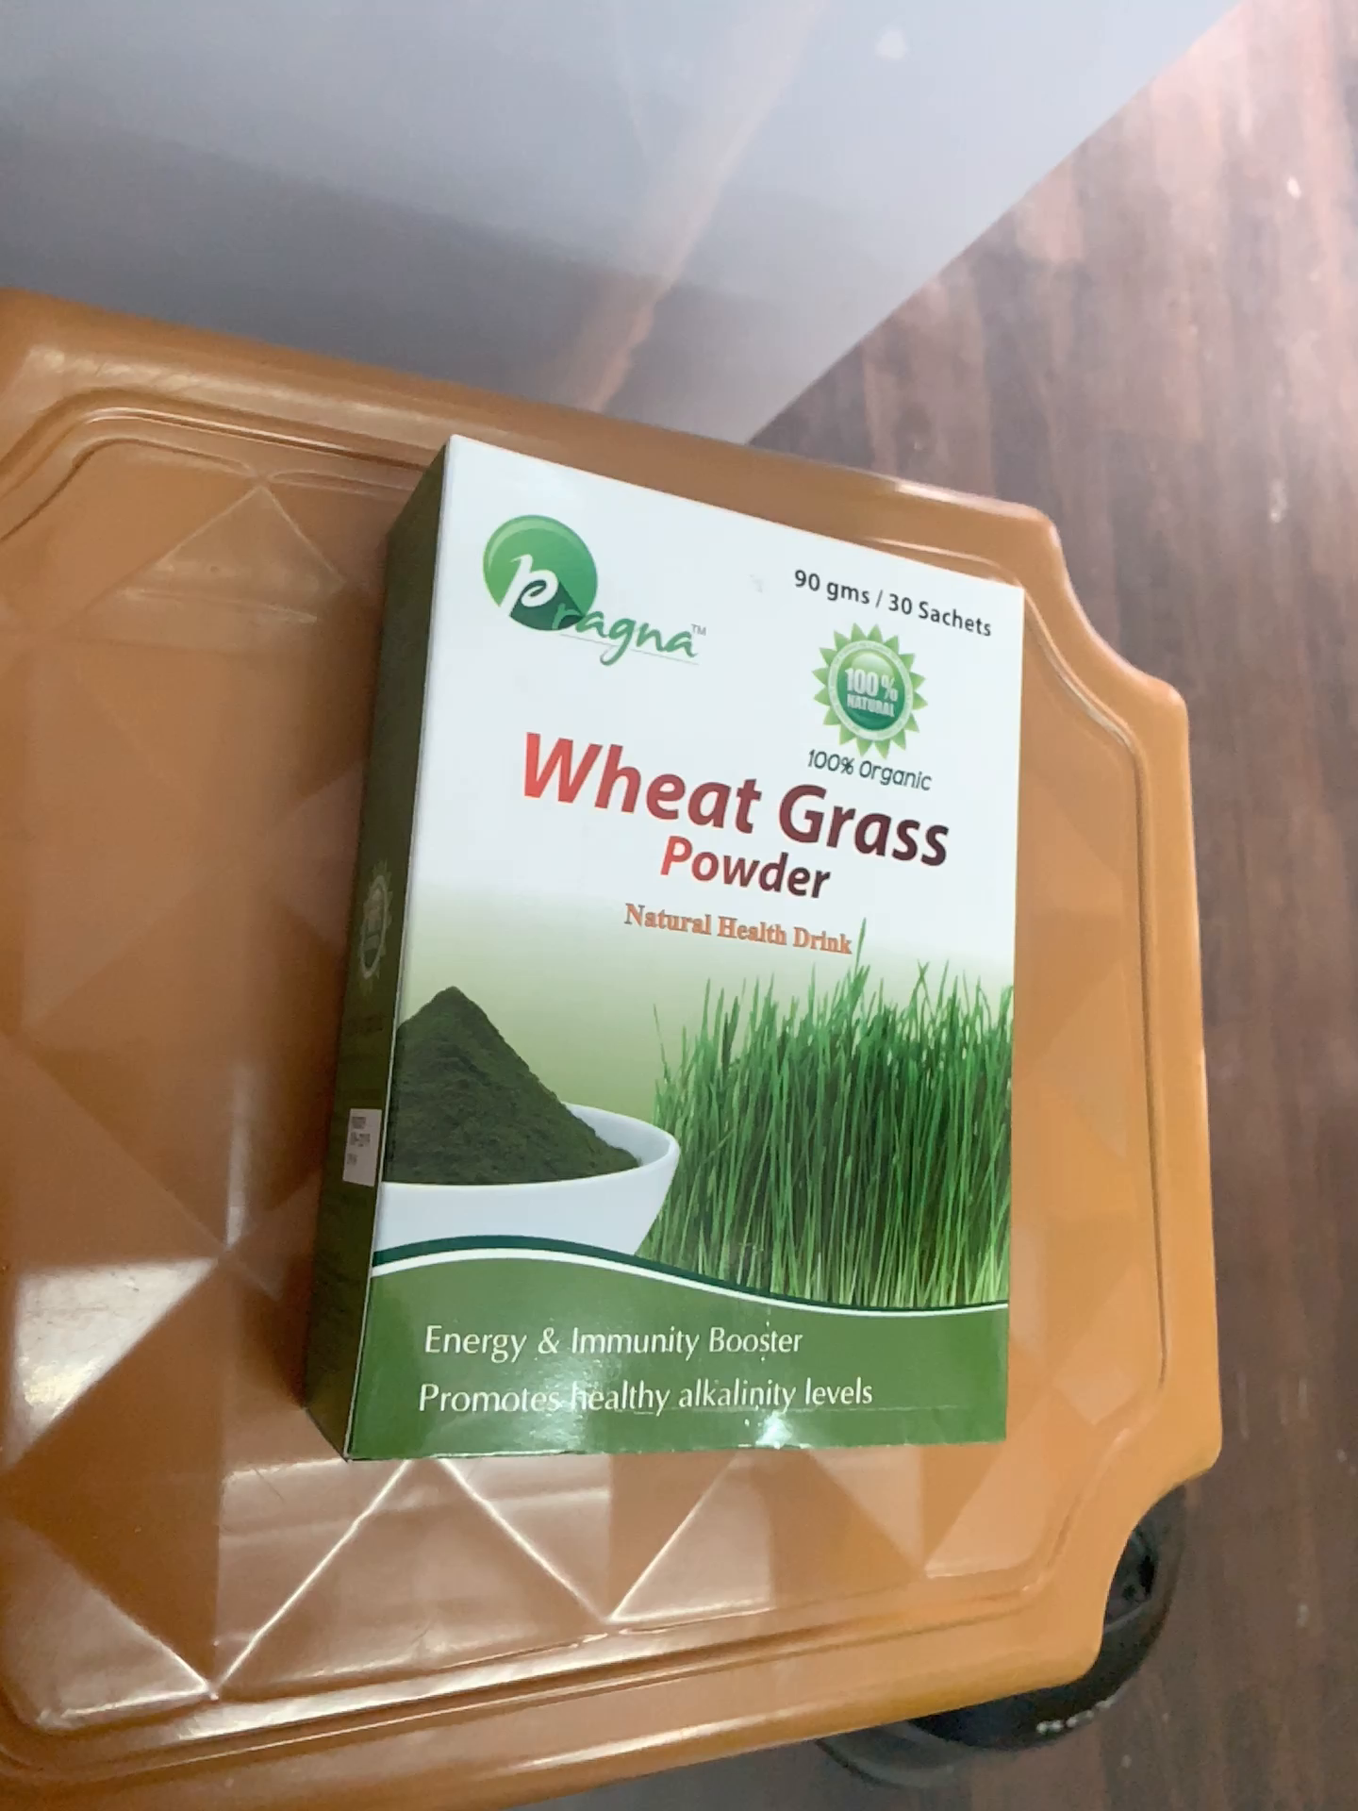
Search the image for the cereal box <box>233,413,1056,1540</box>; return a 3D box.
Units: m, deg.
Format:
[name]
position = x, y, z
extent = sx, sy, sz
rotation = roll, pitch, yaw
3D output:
[cereal box]
position = -0.002, 0.017, 0.260
extent = 0.130, 0.050, 0.170
rotation = 8, 81, -24
